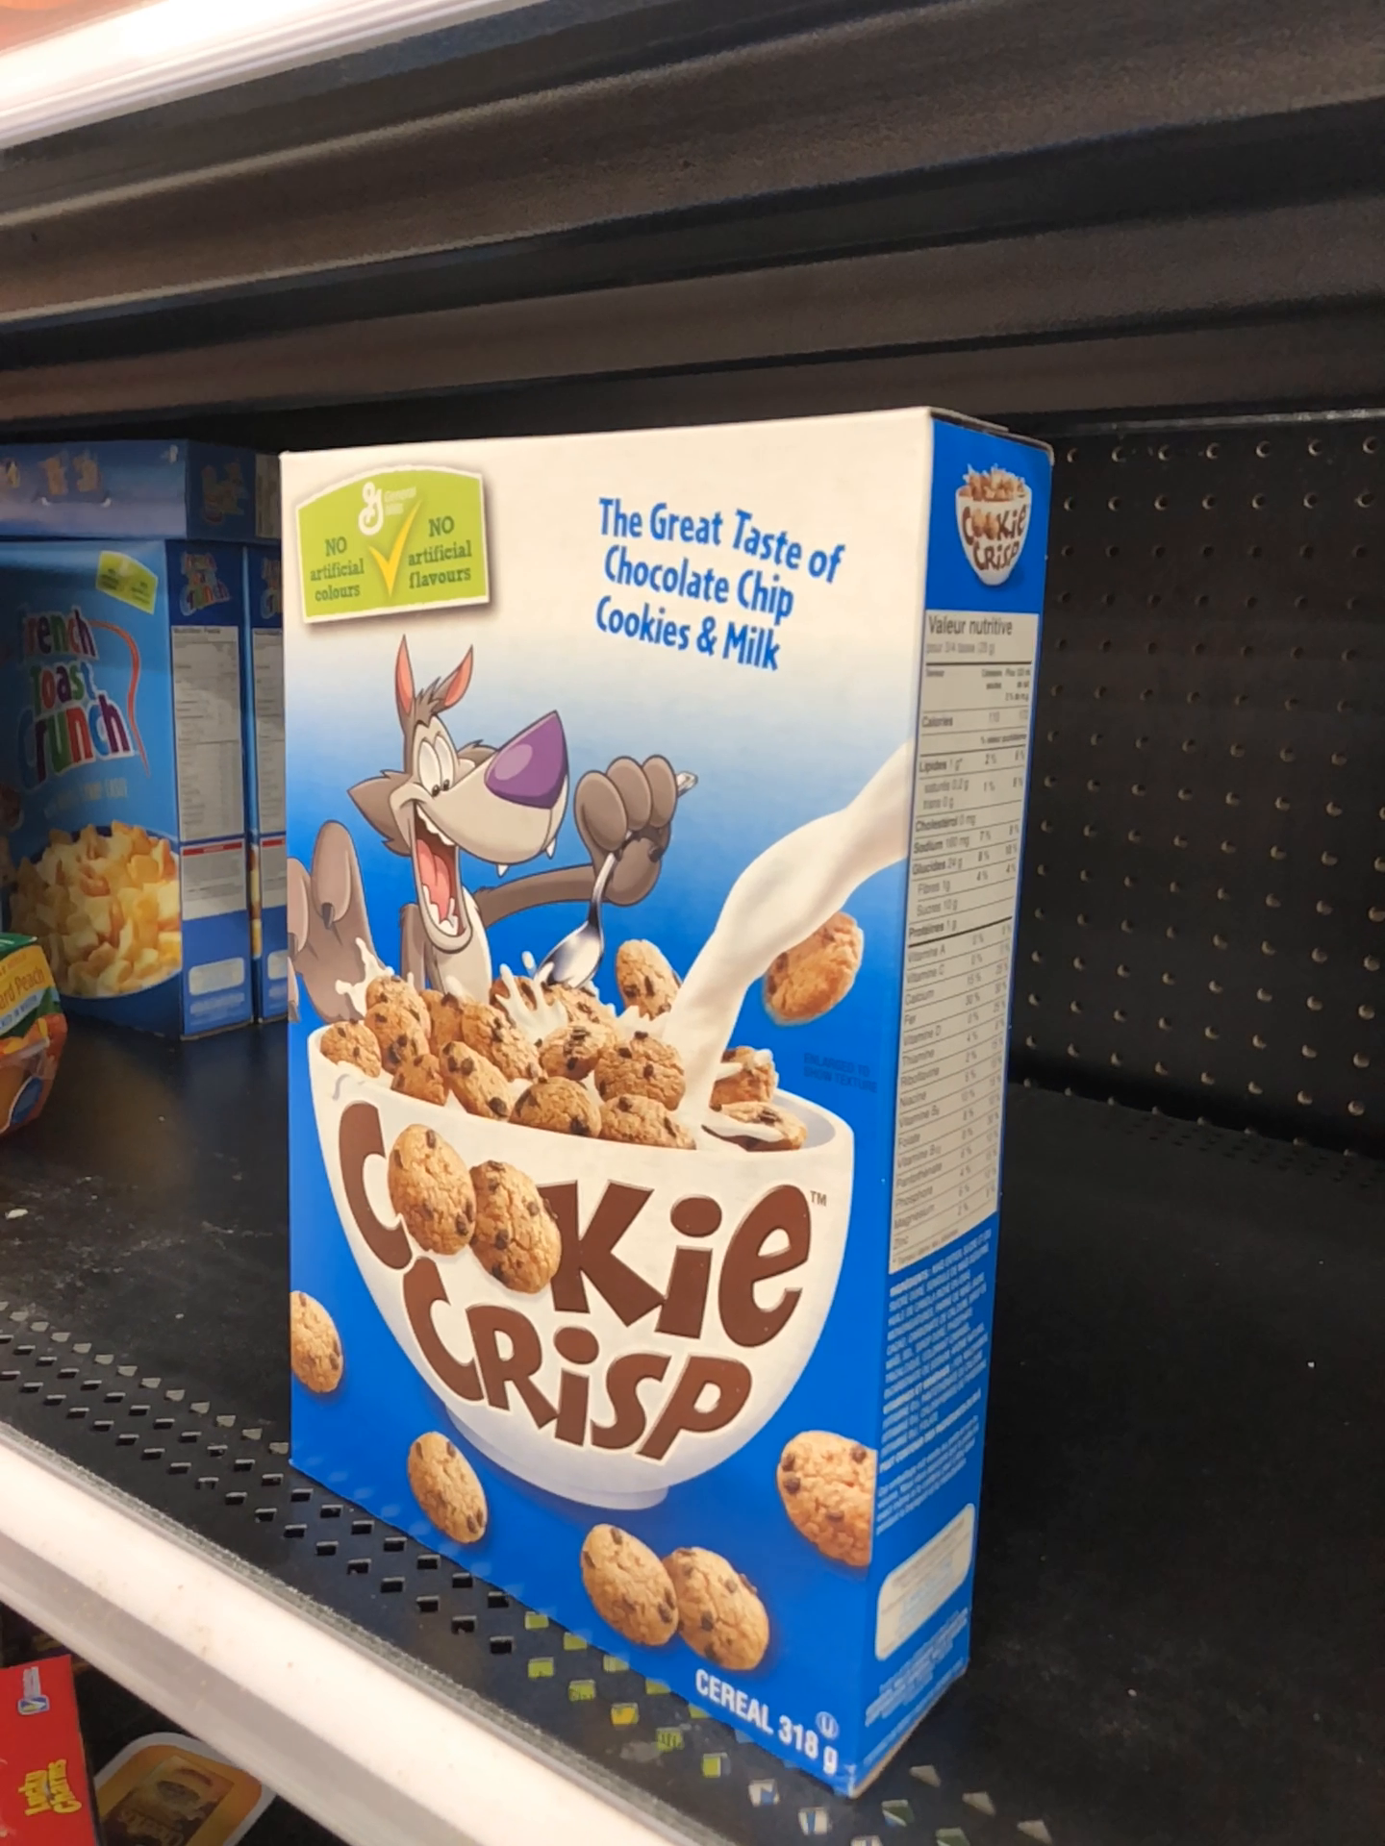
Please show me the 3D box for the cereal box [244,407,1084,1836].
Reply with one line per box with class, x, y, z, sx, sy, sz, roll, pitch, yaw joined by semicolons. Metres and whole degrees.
cereal box;-0.021;0.030;0.372;0.200;0.279;0.060;10;13;38
